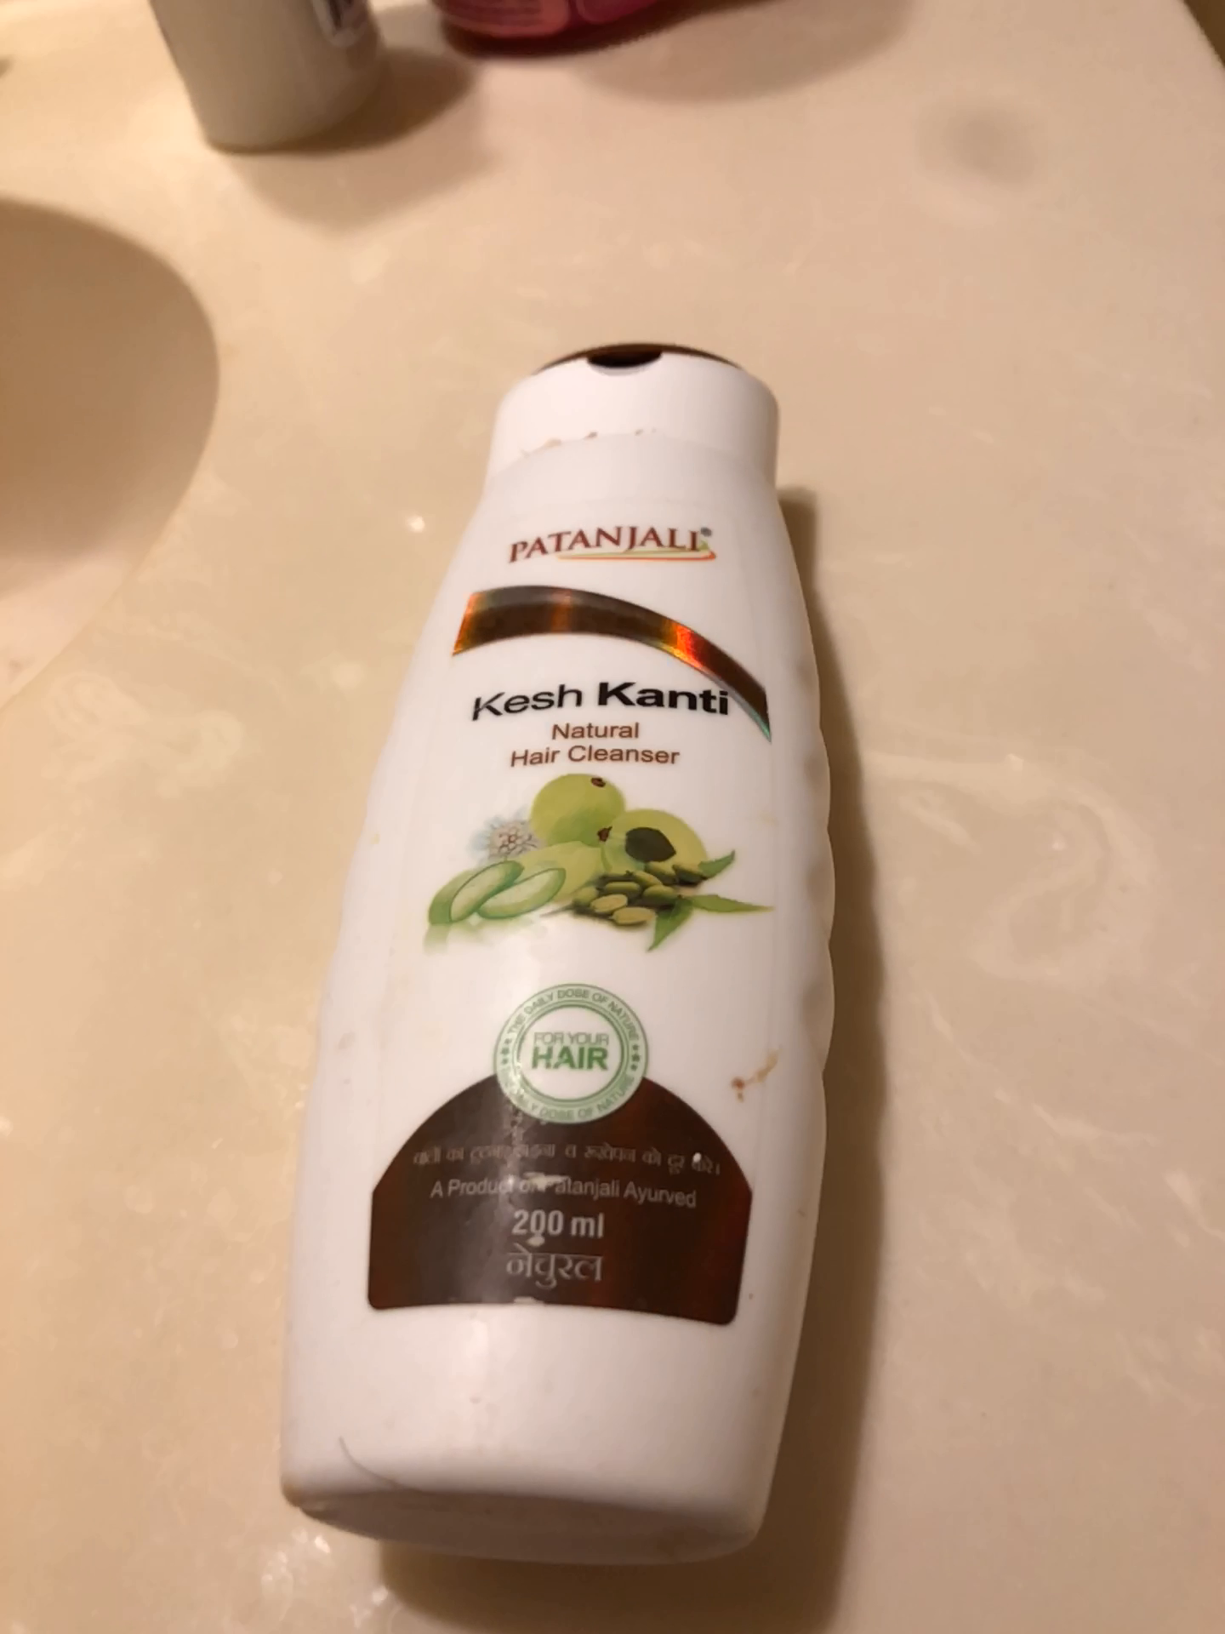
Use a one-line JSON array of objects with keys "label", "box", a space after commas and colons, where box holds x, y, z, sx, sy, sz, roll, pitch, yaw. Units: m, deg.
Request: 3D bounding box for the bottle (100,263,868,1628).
[{"label": "bottle", "box": [0.000, -0.004, 0.199, 0.070, 0.040, 0.200, -1, 51, 11]}]
